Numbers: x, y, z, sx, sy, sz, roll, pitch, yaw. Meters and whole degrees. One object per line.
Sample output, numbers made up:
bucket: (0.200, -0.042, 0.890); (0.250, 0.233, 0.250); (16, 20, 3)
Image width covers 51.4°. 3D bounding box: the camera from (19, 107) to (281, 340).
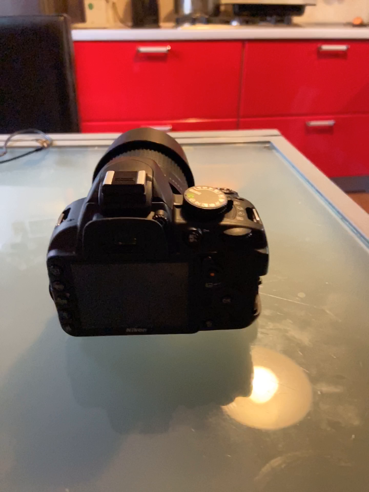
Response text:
camera: (-0.021, -0.035, 0.286); (0.124, 0.094, 0.189); (-2, 31, -3)
